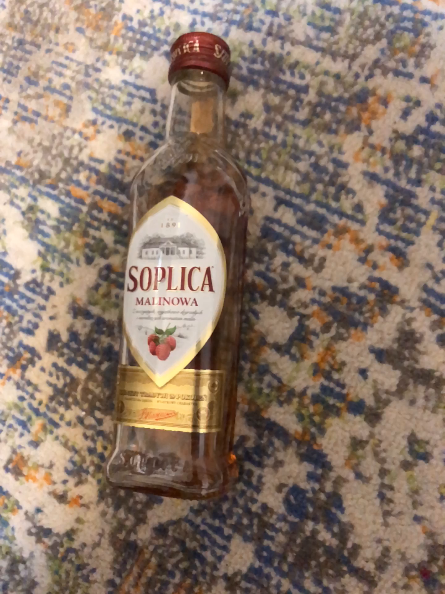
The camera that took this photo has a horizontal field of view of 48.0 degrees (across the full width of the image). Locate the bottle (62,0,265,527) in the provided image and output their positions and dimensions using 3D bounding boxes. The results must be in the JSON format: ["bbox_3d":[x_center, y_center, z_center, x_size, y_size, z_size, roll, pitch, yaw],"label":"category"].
[{"bbox_3d":[-0.020,-0.024,0.211,0.060,0.040,0.210,1,82,18],"label":"bottle"}]
